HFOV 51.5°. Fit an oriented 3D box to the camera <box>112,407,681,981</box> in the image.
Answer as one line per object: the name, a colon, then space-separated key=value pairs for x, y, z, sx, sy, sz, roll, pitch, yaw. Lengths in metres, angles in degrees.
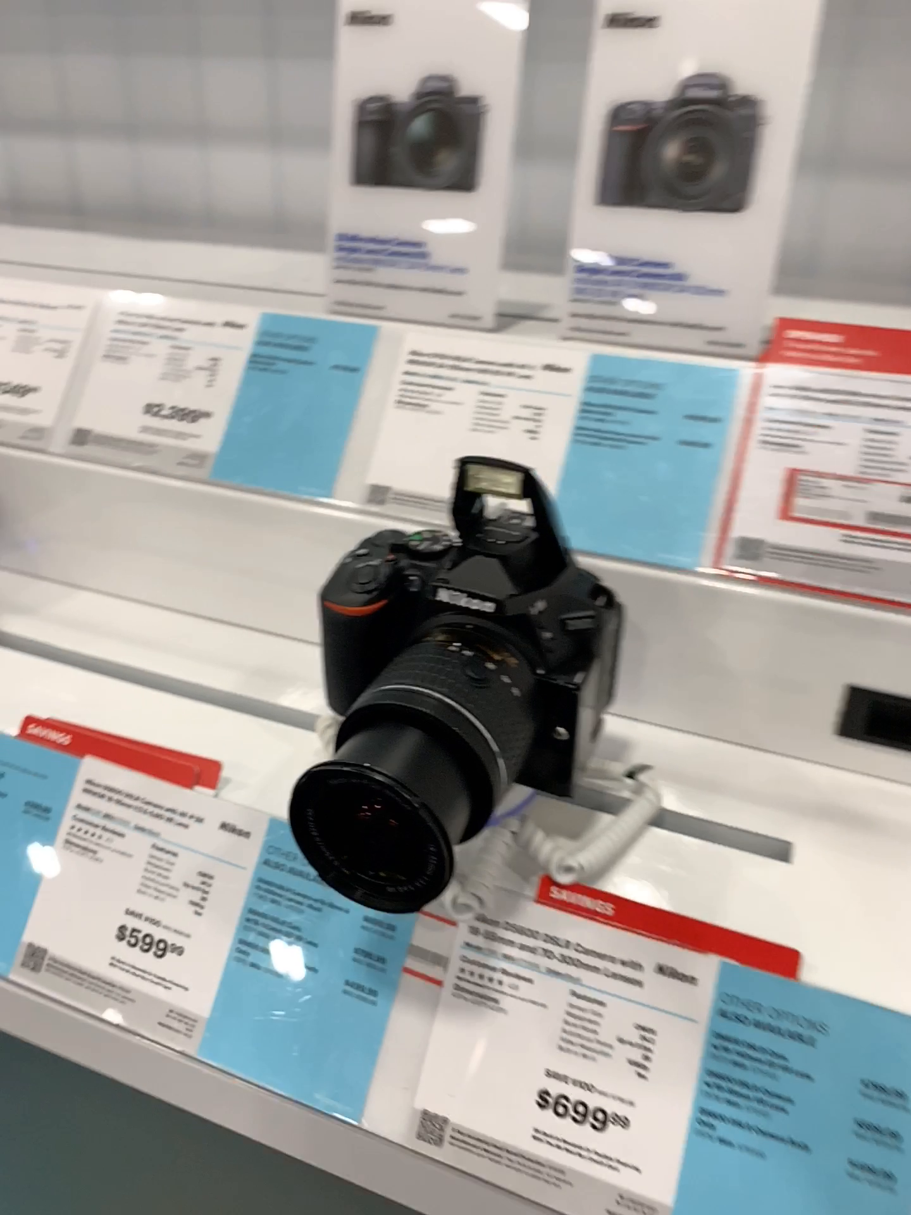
camera: x=-0.004 y=0.010 z=0.358 sx=0.140 sy=0.109 sz=0.191 roll=10 pitch=29 yaw=15
